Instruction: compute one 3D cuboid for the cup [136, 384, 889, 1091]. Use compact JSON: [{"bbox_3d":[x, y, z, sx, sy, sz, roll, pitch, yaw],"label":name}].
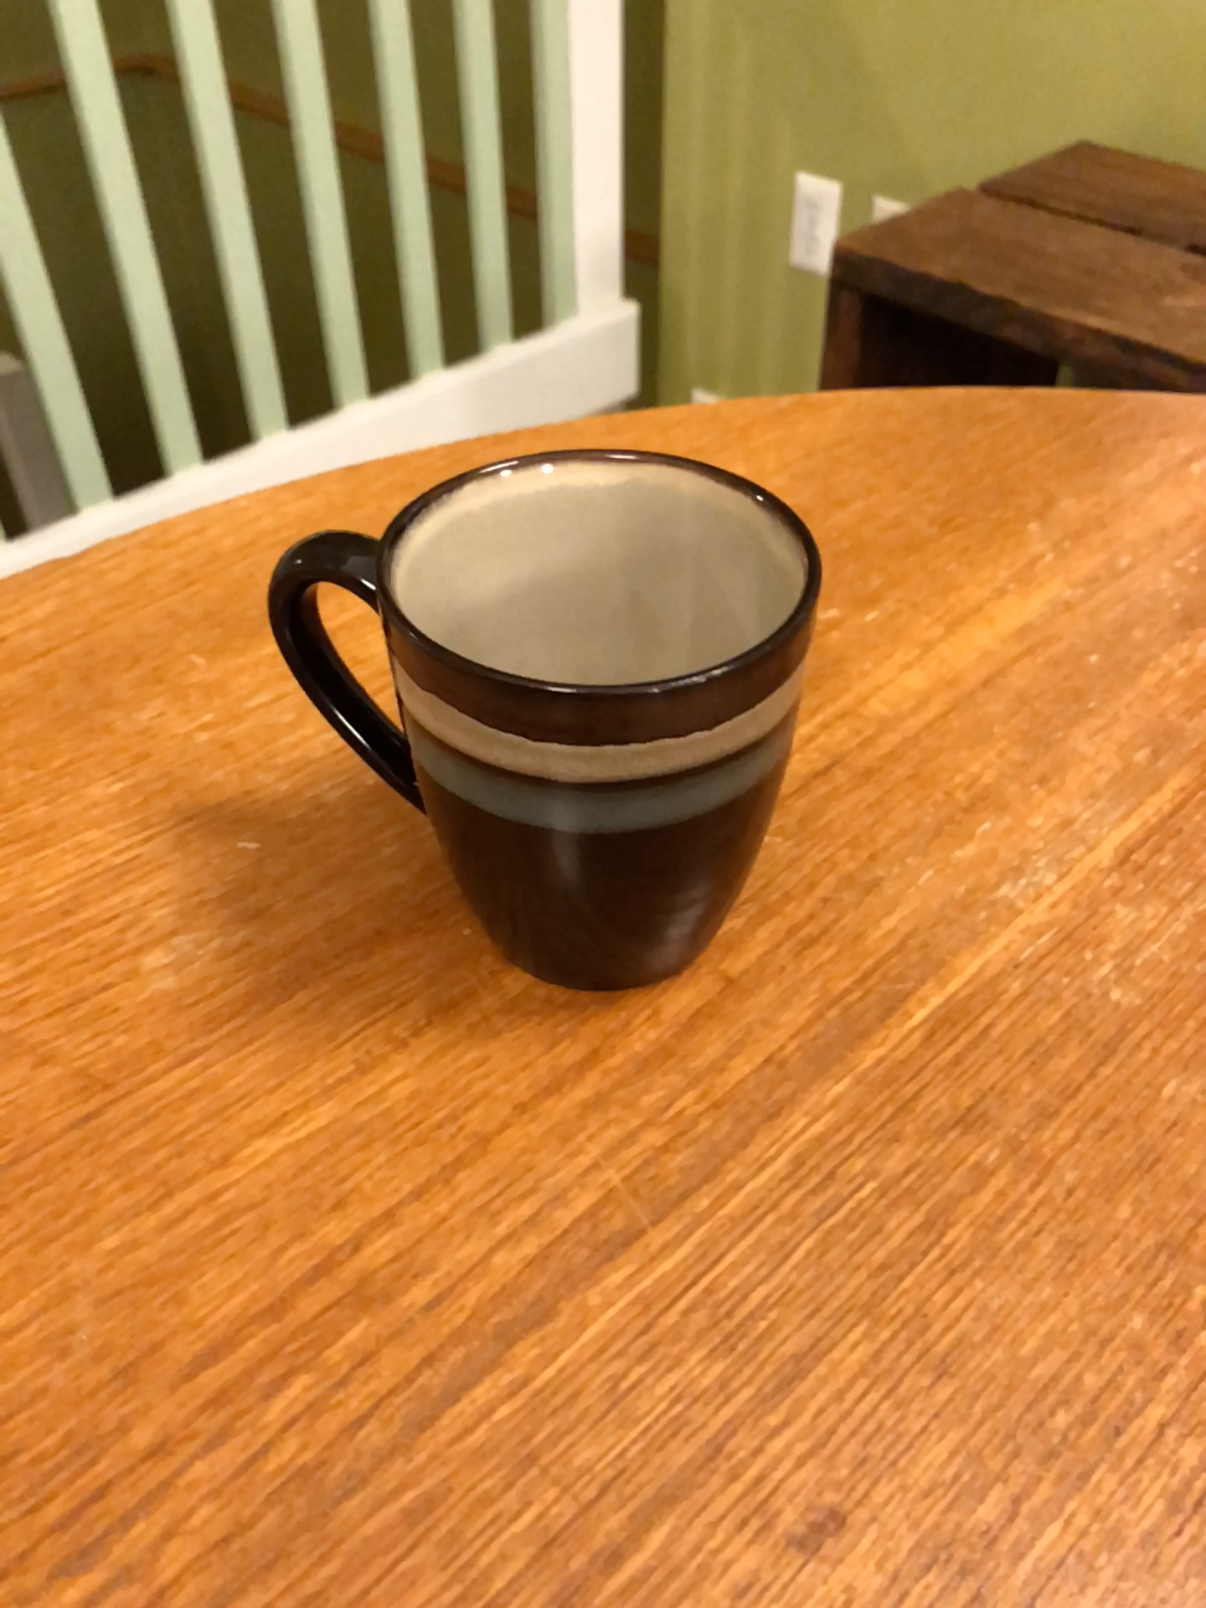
[{"bbox_3d":[-0.016,-0.022,0.312,0.125,0.093,0.099,19,46,21],"label":"cup"}]
